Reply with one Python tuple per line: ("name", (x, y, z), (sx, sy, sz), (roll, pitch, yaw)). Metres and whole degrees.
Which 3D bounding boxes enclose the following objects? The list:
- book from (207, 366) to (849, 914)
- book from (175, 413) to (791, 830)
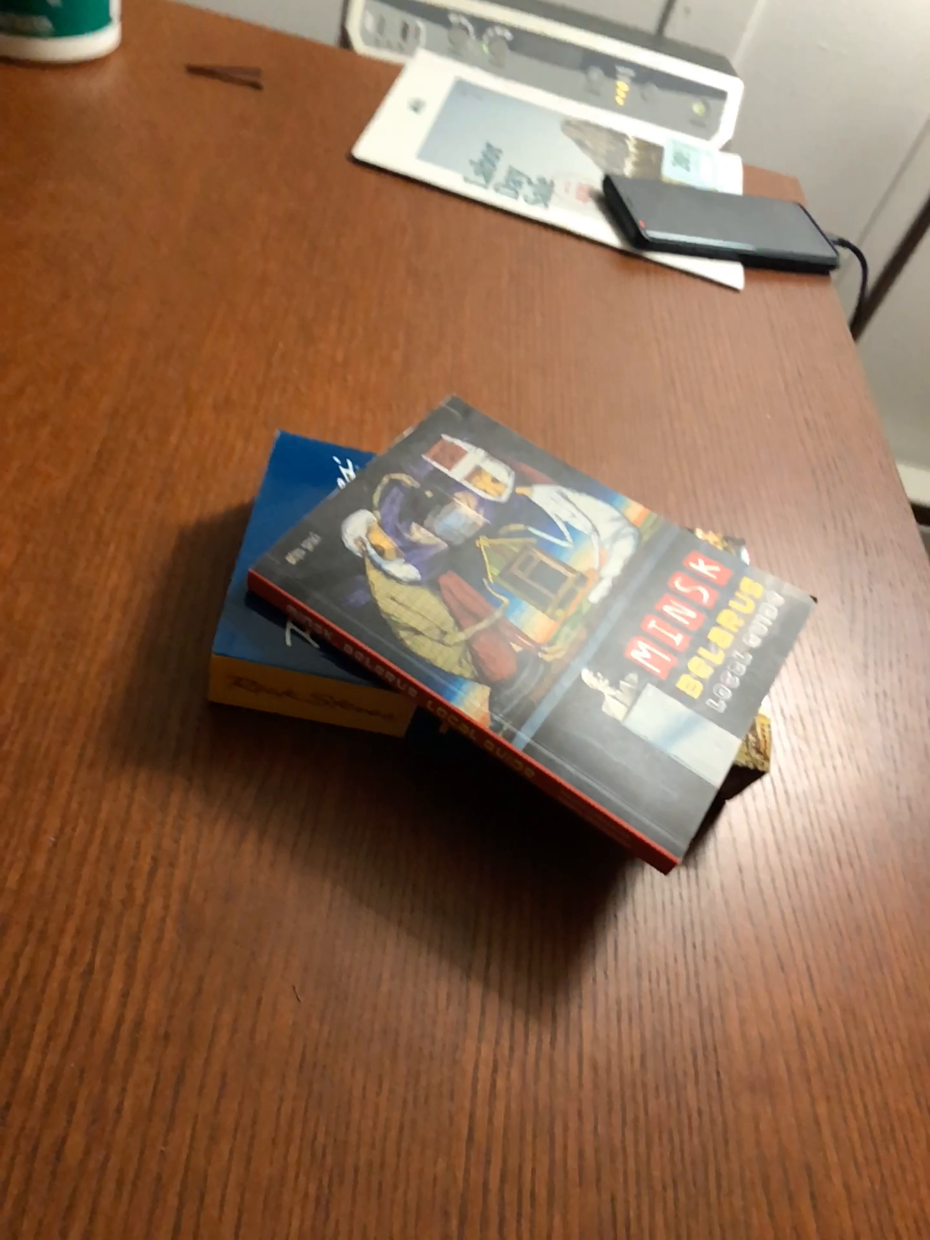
("book", (0.031, -0.008, 0.374), (0.190, 0.020, 0.151), (31, 48, 9))
("book", (0.011, -0.002, 0.415), (0.220, 0.040, 0.131), (12, 48, -8))
